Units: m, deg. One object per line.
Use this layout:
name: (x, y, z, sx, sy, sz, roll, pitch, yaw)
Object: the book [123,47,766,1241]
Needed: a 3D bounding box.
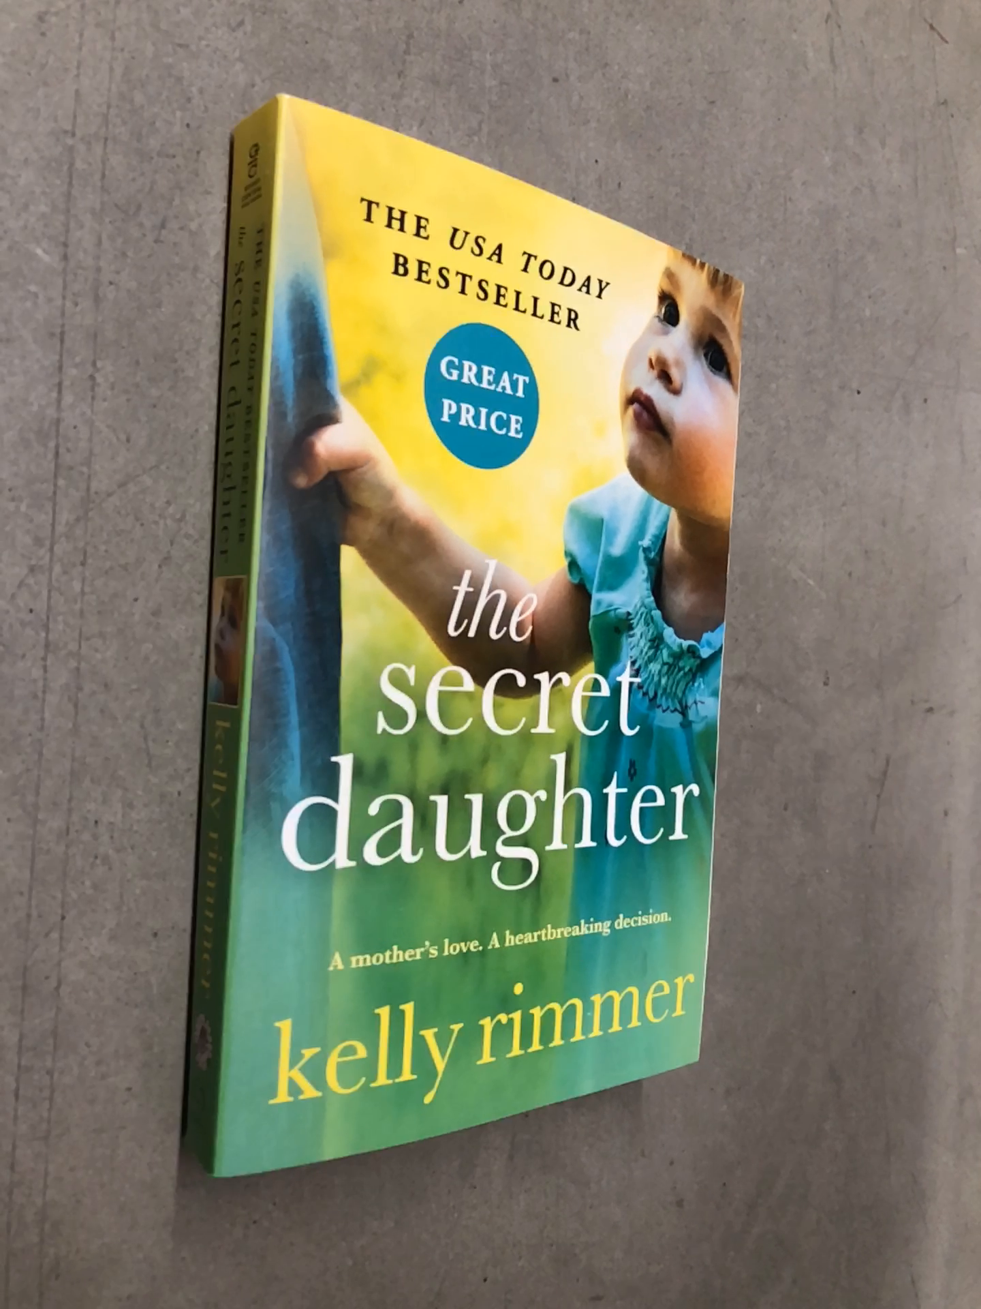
book: (-0.001, 0.001, 0.246, 0.141, 0.030, 0.210, 4, 90, -38)
